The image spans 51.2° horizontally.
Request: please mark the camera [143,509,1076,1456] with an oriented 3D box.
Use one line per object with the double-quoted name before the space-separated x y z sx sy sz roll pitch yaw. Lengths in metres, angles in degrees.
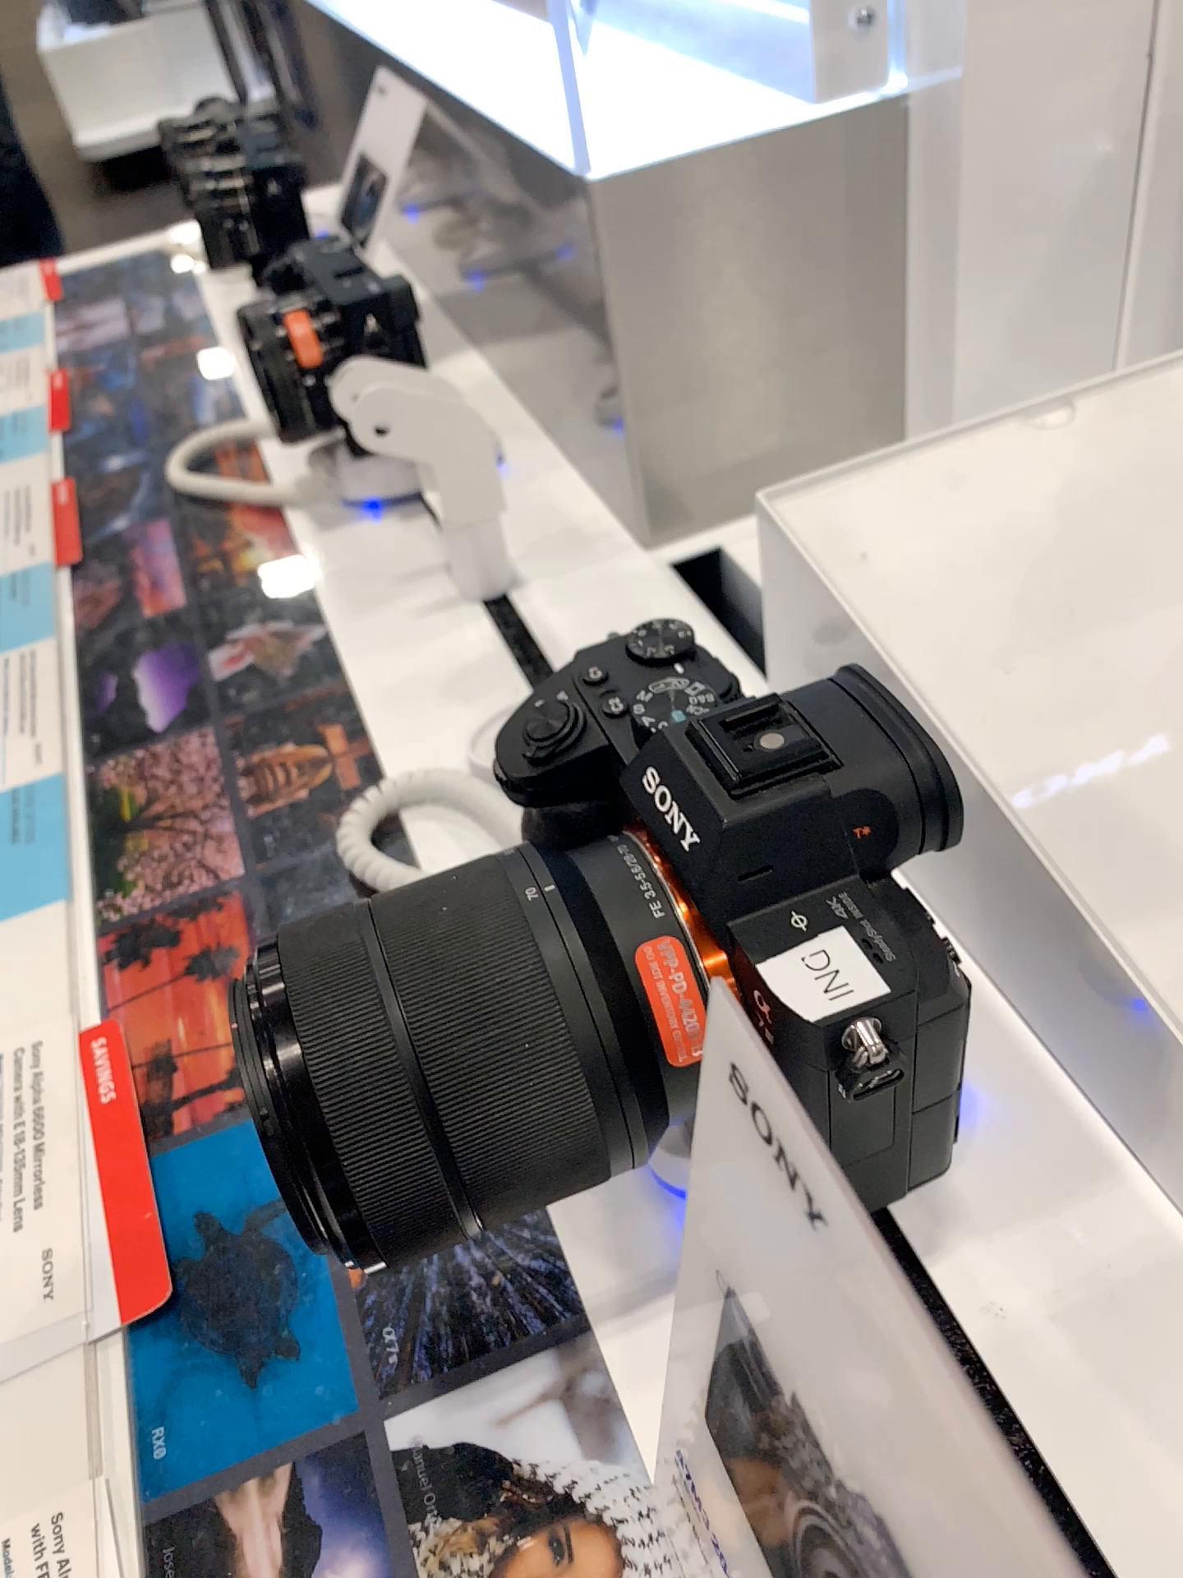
"camera" 0.001 0.032 0.263 0.140 0.099 0.120 -23 42 -10
